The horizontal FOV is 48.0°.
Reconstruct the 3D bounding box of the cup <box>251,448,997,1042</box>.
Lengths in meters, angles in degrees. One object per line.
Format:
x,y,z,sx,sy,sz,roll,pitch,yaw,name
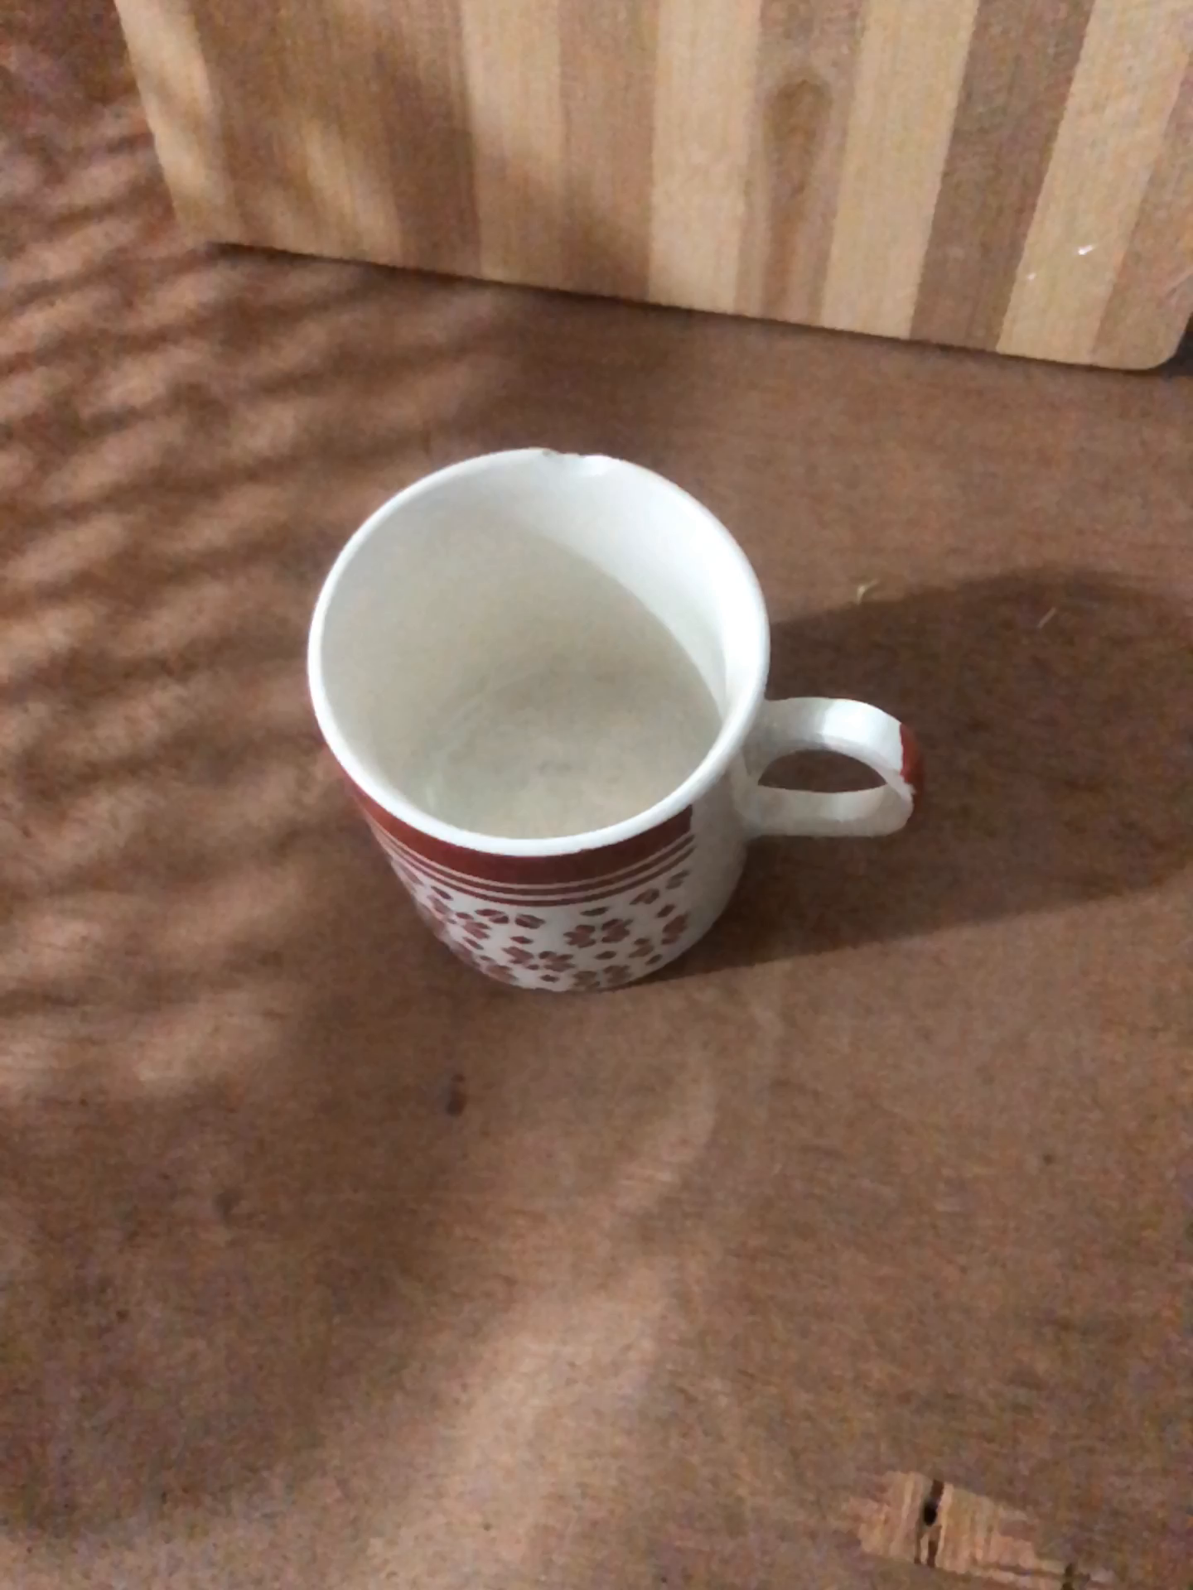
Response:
0.008,-0.003,0.209,0.090,0.080,0.060,3,67,6,cup
